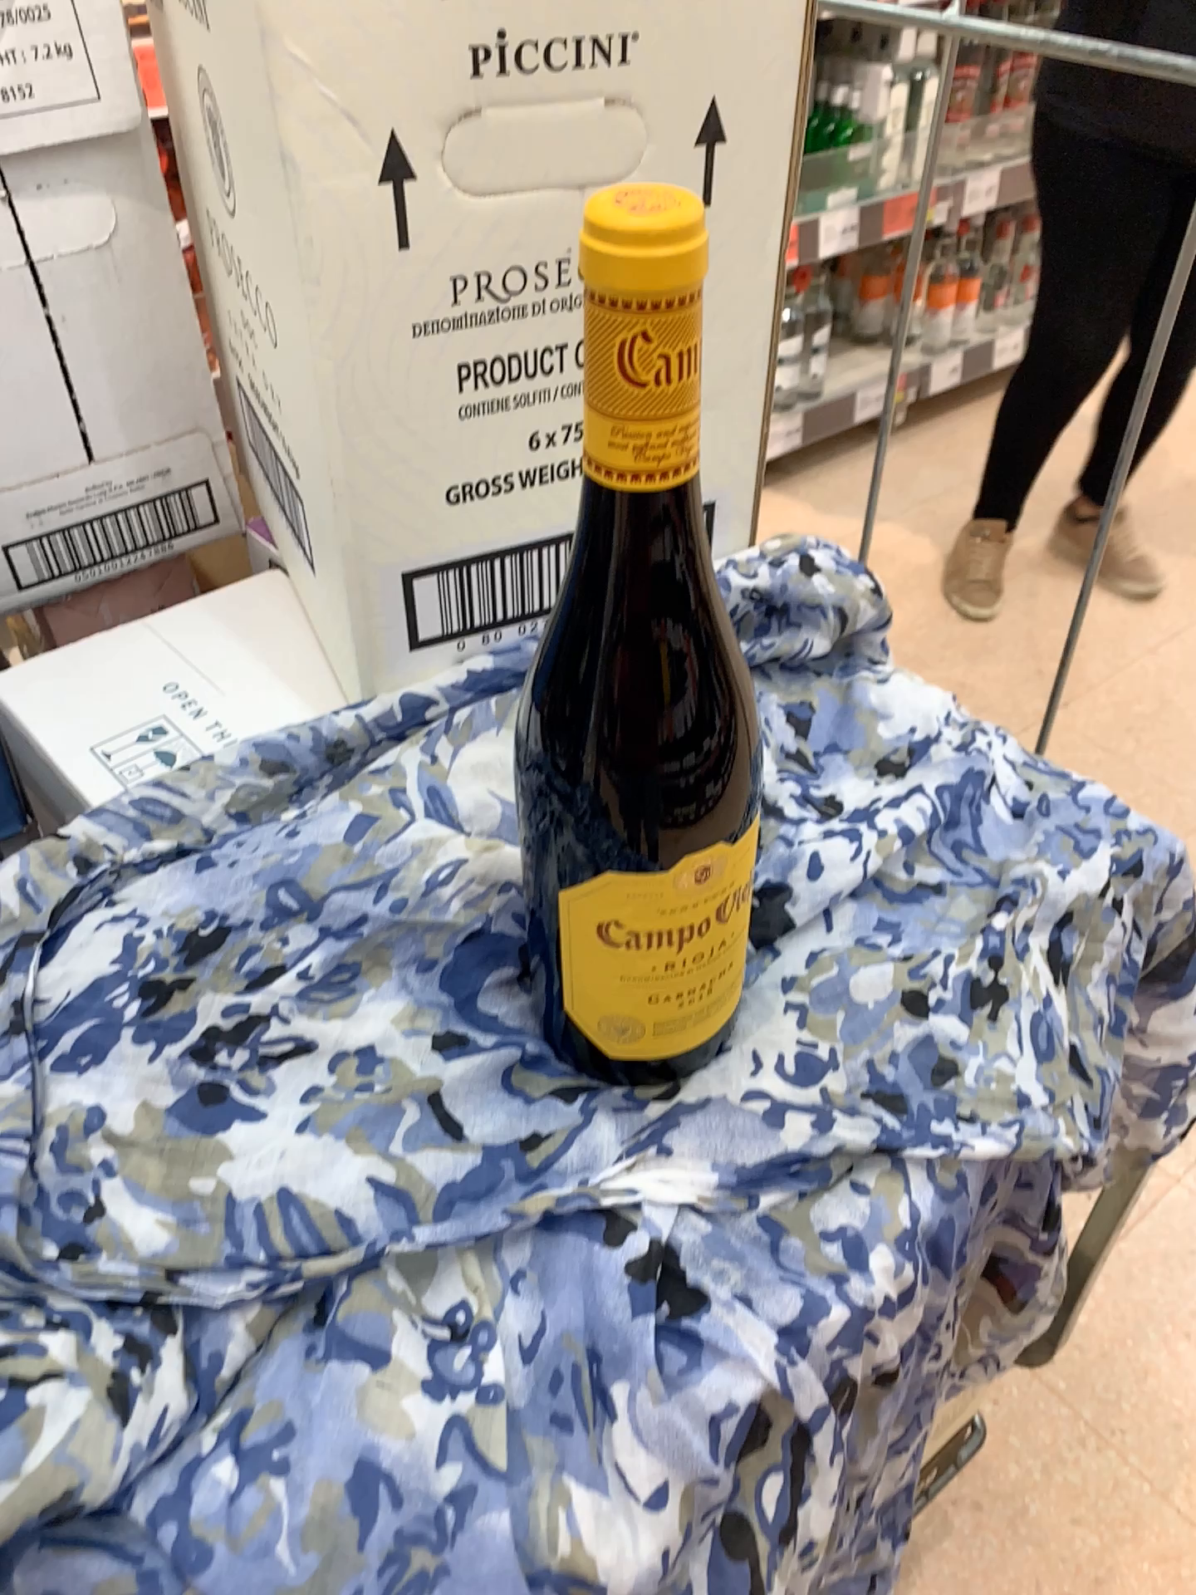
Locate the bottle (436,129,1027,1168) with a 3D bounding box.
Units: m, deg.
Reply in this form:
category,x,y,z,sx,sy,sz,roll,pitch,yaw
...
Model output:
category,x,y,z,sx,sy,sz,roll,pitch,yaw
bottle,0.026,-0.026,0.350,0.090,0.270,0.091,0,41,0
